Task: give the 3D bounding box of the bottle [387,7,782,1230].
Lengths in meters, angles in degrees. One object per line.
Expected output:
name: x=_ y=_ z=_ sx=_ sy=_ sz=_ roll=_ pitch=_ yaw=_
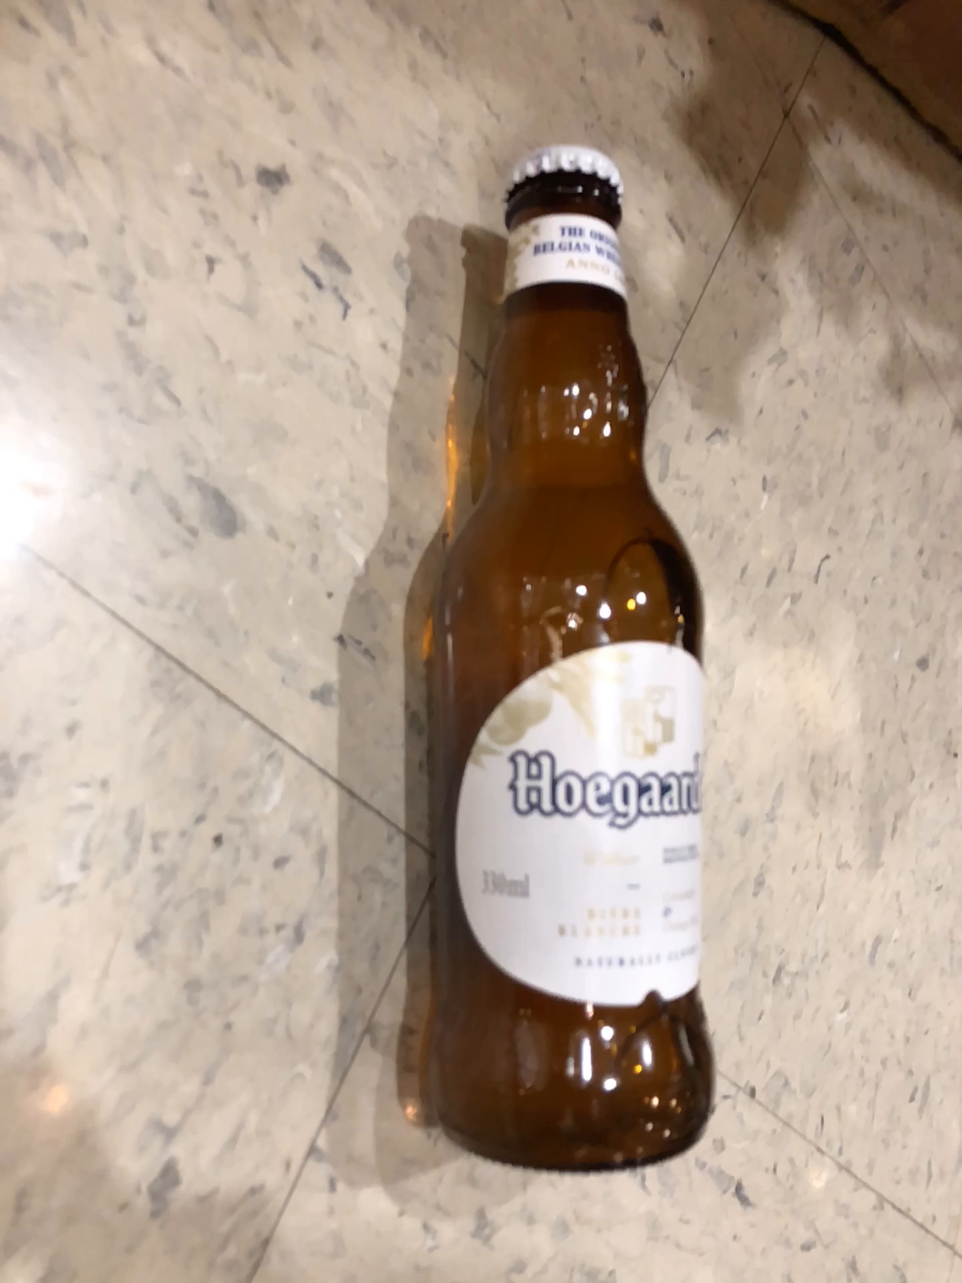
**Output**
bottle: x=0.023 y=-0.007 z=0.239 sx=0.070 sy=0.050 sz=0.230 roll=6 pitch=82 yaw=-42
